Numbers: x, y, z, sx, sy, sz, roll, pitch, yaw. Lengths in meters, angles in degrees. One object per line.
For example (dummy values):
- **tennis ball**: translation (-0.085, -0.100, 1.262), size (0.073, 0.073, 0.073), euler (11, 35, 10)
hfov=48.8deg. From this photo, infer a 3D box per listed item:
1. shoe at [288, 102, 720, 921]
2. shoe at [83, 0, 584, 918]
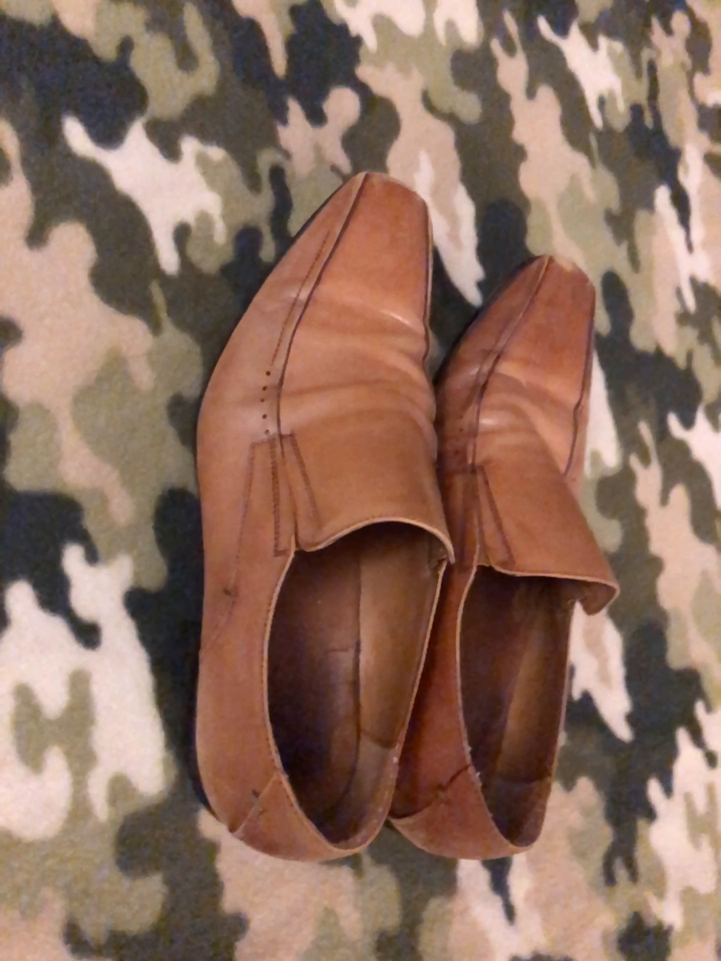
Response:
- **shoe**: translation (0.081, 0.009, 0.378), size (0.110, 0.120, 0.320), euler (23, 72, -26)
- **shoe**: translation (-0.007, -0.016, 0.325), size (0.110, 0.120, 0.320), euler (17, 74, -27)
